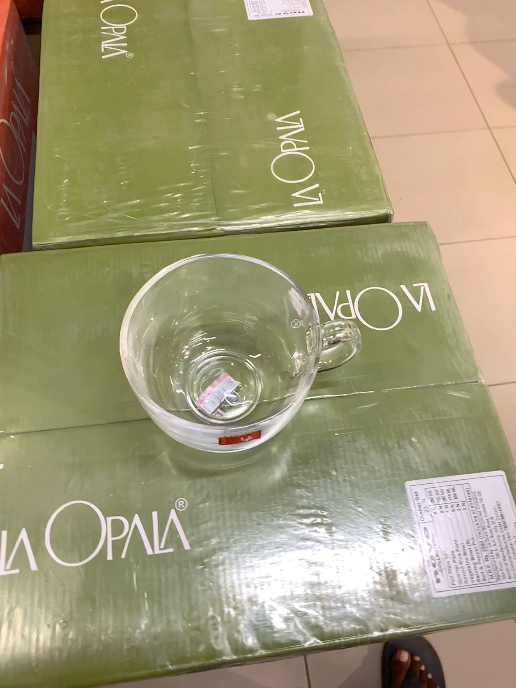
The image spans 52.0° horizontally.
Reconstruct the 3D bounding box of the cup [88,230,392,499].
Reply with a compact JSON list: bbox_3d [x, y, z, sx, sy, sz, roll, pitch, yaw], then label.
[{"bbox_3d":[-0.015,0.014,0.316,0.140,0.090,0.110,-10,63,-7],"label":"cup"}]
